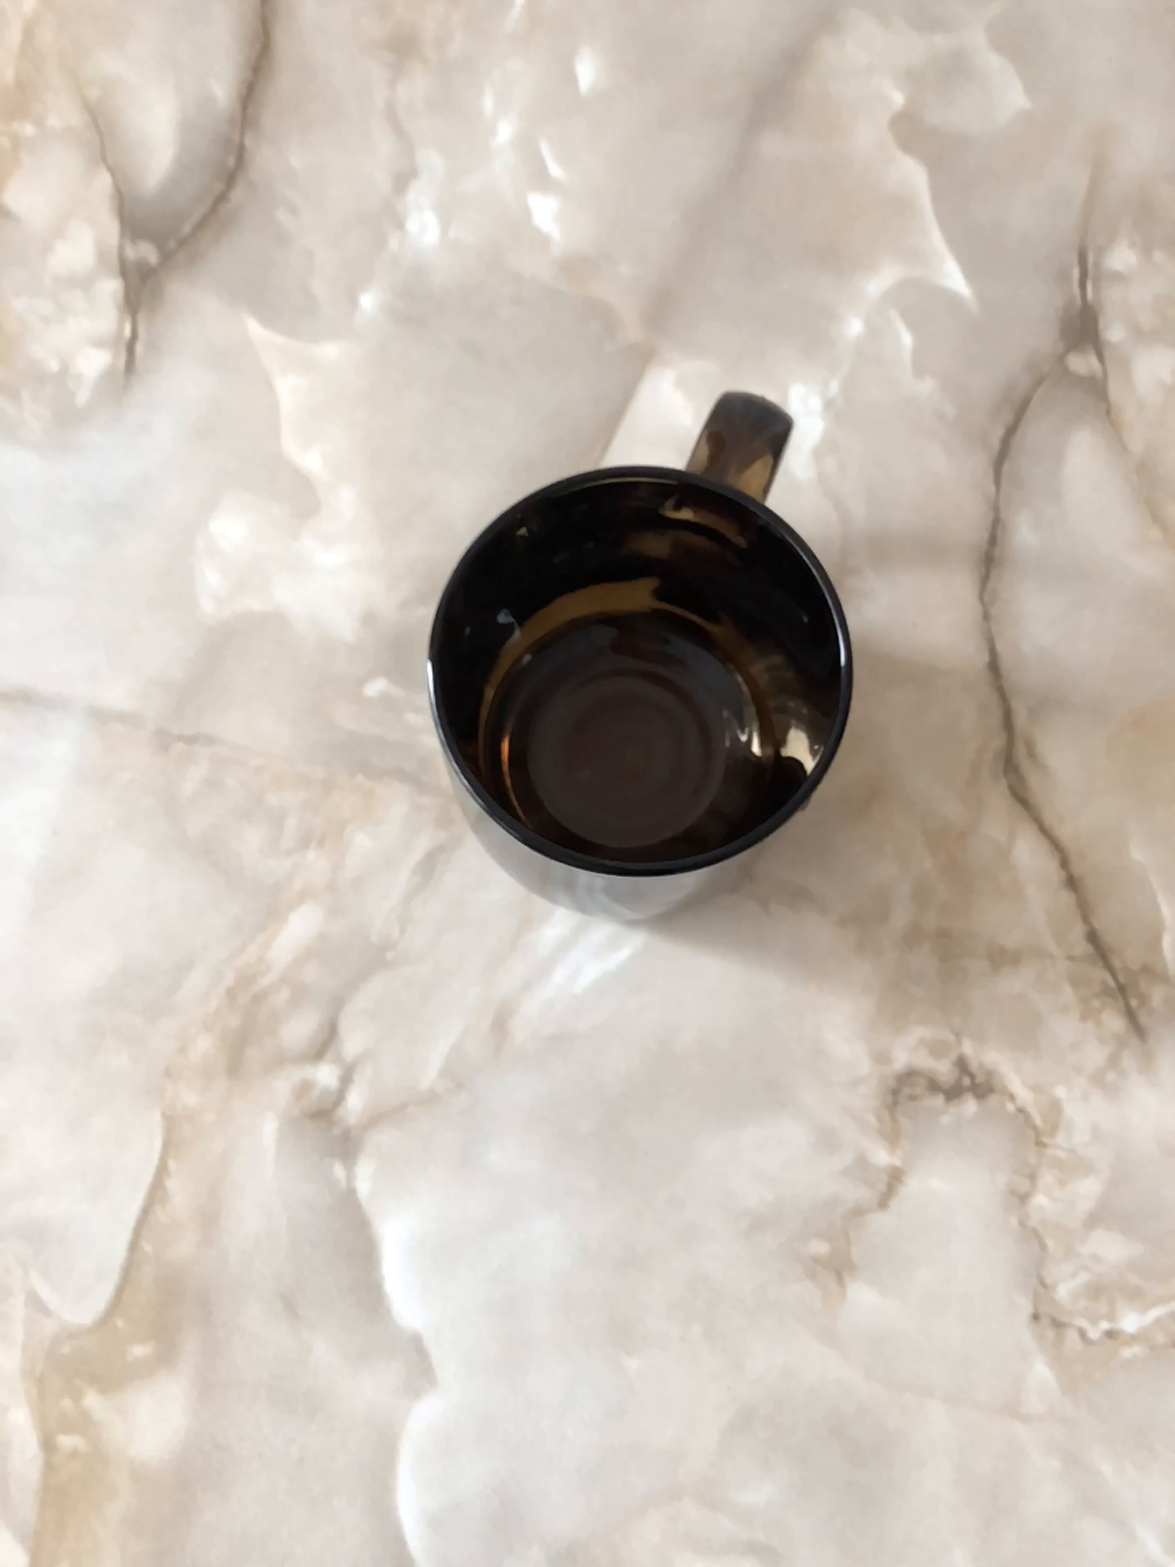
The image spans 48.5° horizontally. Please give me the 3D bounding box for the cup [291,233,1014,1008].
[{"bbox_3d":[0.013,-0.027,0.289,0.090,0.090,0.122,27,81,3],"label":"cup"}]
